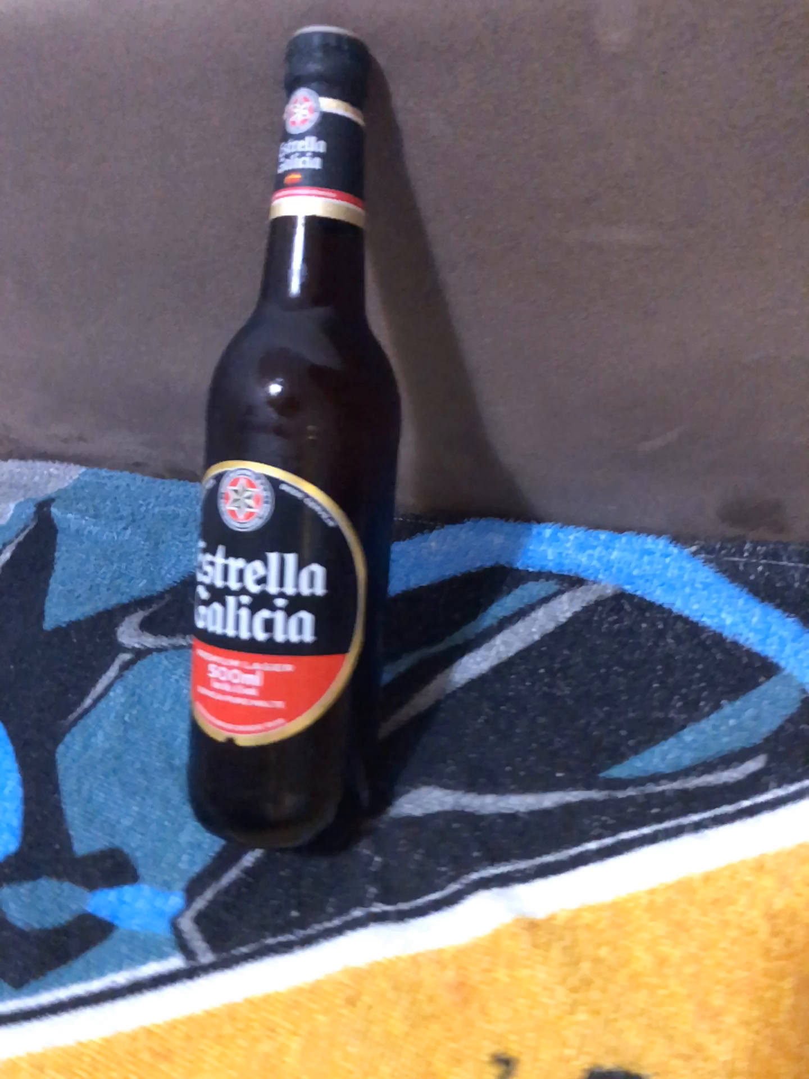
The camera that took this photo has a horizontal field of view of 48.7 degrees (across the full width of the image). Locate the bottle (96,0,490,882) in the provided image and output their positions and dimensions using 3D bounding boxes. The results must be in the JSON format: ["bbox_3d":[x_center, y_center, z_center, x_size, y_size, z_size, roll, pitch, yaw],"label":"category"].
[{"bbox_3d":[-0.037,-0.040,0.306,0.080,0.270,0.080,5,5,0],"label":"bottle"}]
